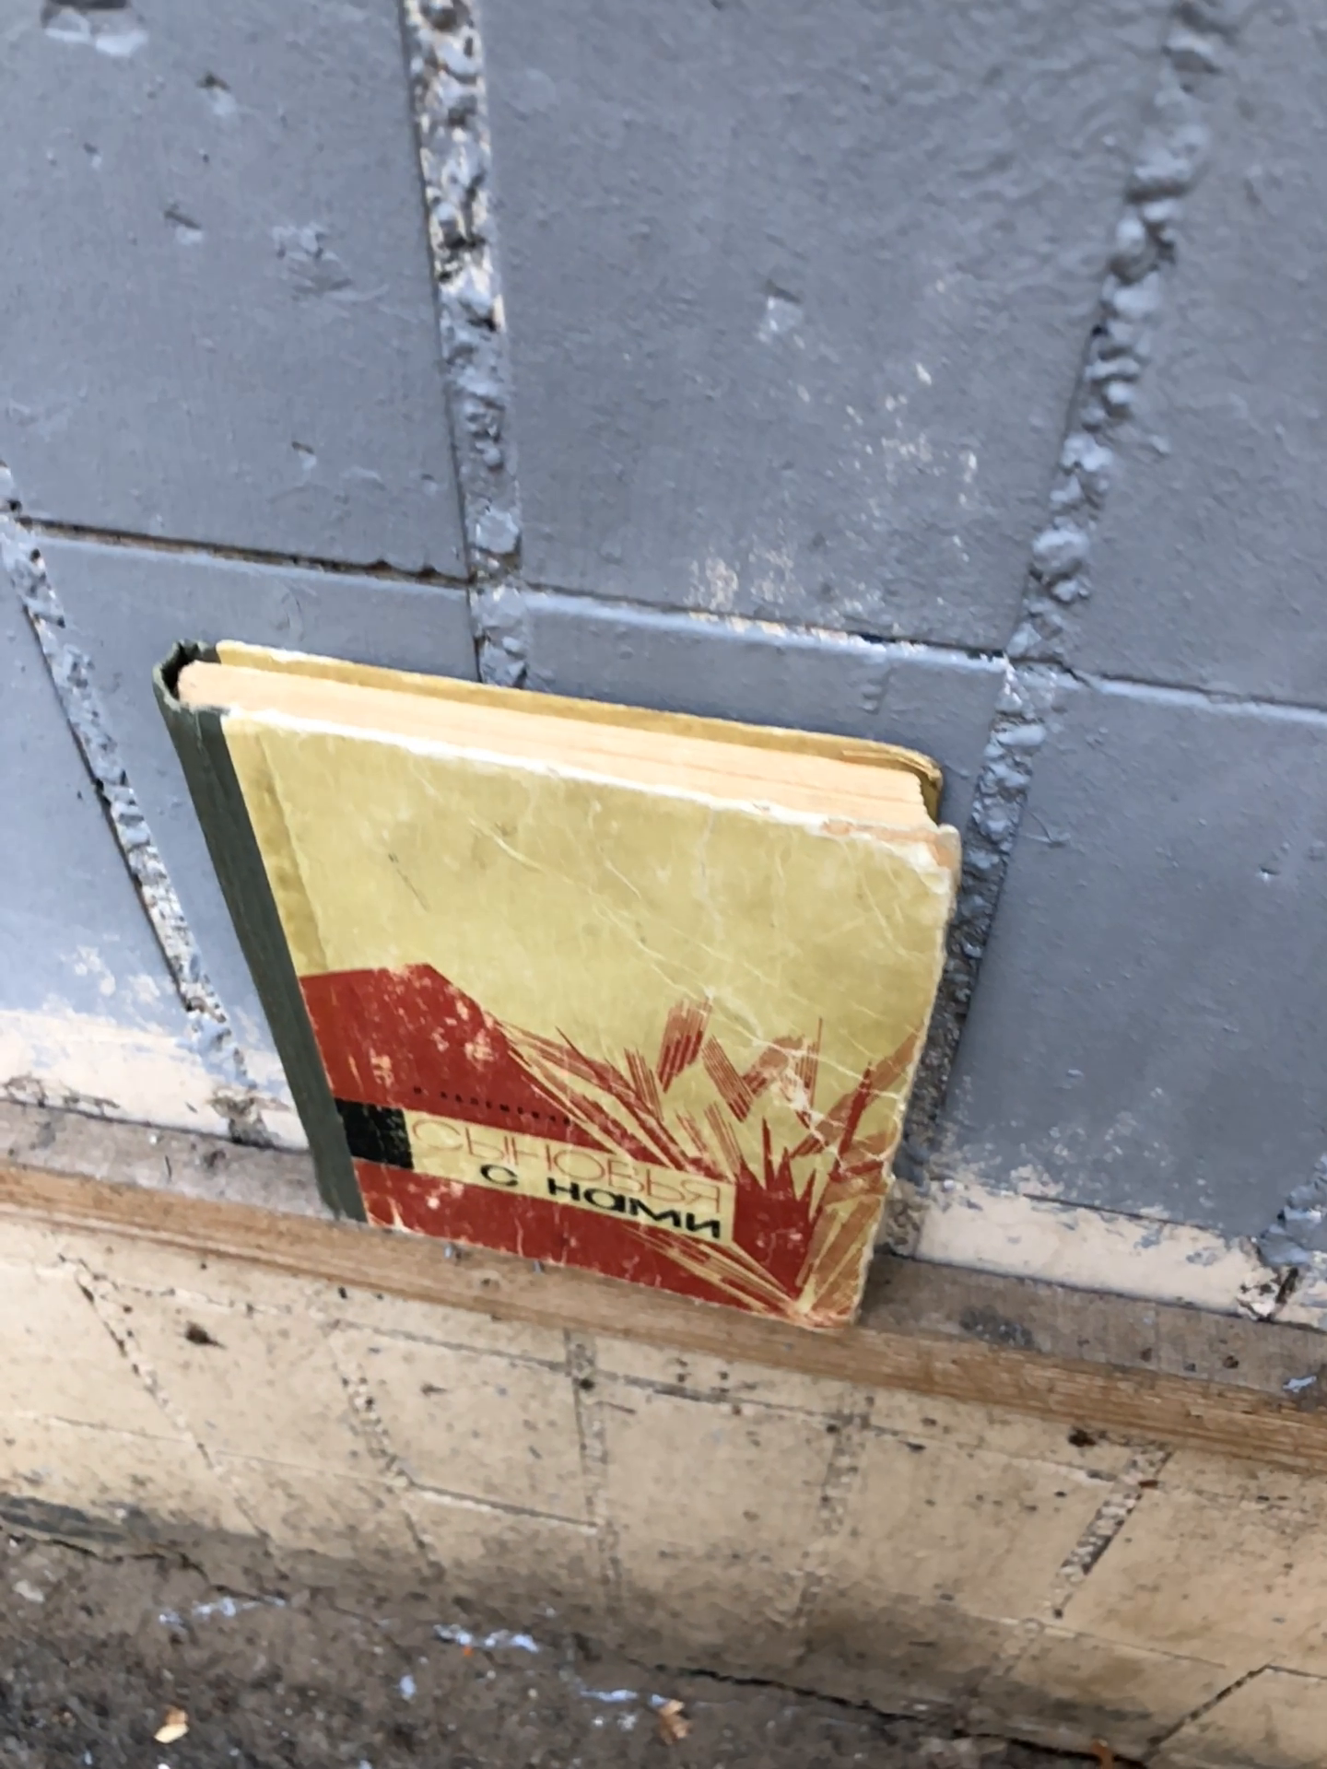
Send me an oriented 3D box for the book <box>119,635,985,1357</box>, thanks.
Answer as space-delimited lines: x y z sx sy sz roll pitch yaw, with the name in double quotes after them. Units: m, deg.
-0.019 0.031 0.287 0.135 0.156 0.020 10 46 9 "book"
